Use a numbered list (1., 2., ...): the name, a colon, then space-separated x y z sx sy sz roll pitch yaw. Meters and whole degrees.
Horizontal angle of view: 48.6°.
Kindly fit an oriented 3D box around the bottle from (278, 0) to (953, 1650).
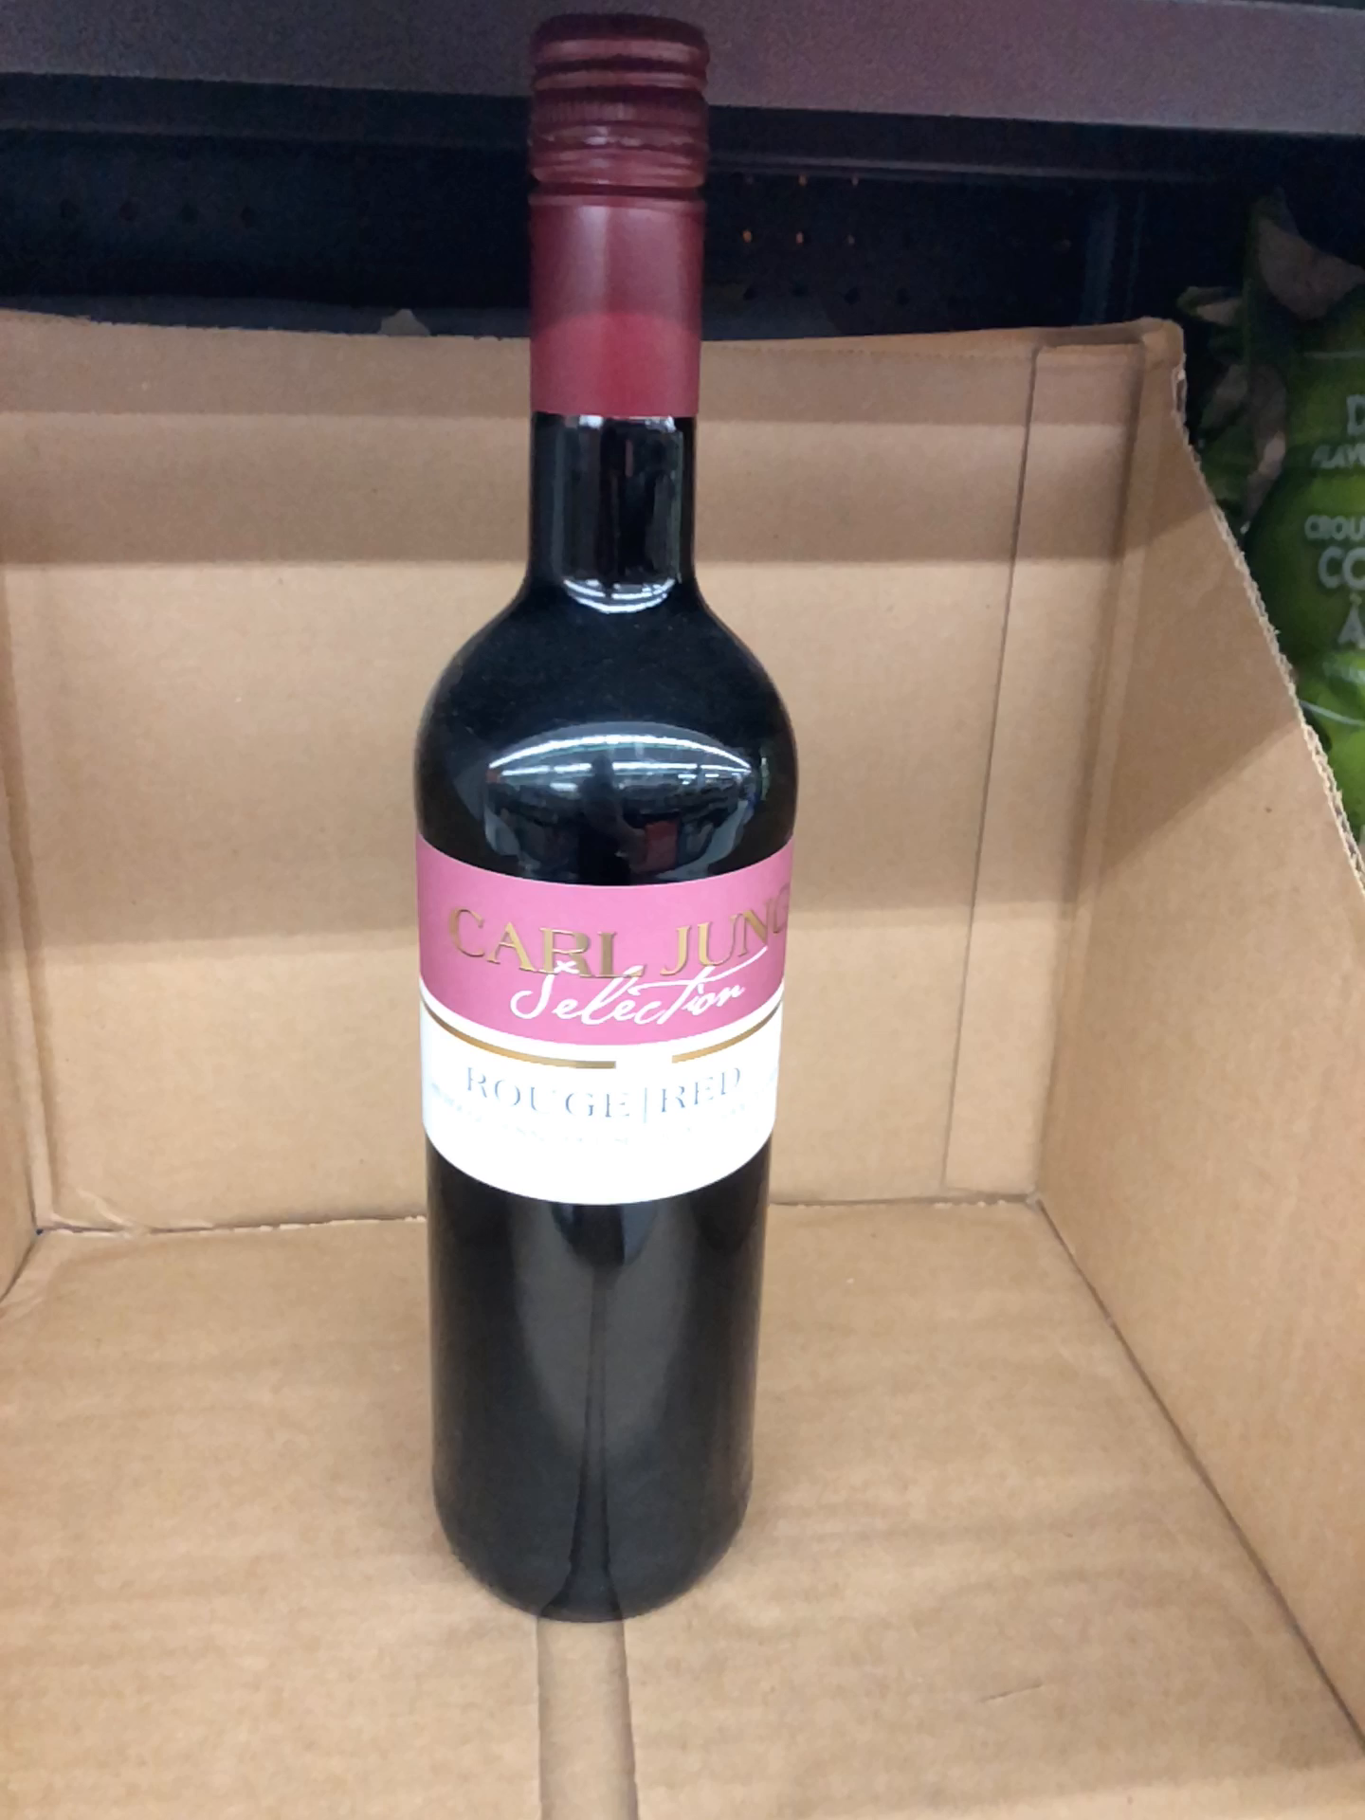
1. bottle: -0.015 -0.002 0.298 0.090 0.308 0.081 1 22 -3
